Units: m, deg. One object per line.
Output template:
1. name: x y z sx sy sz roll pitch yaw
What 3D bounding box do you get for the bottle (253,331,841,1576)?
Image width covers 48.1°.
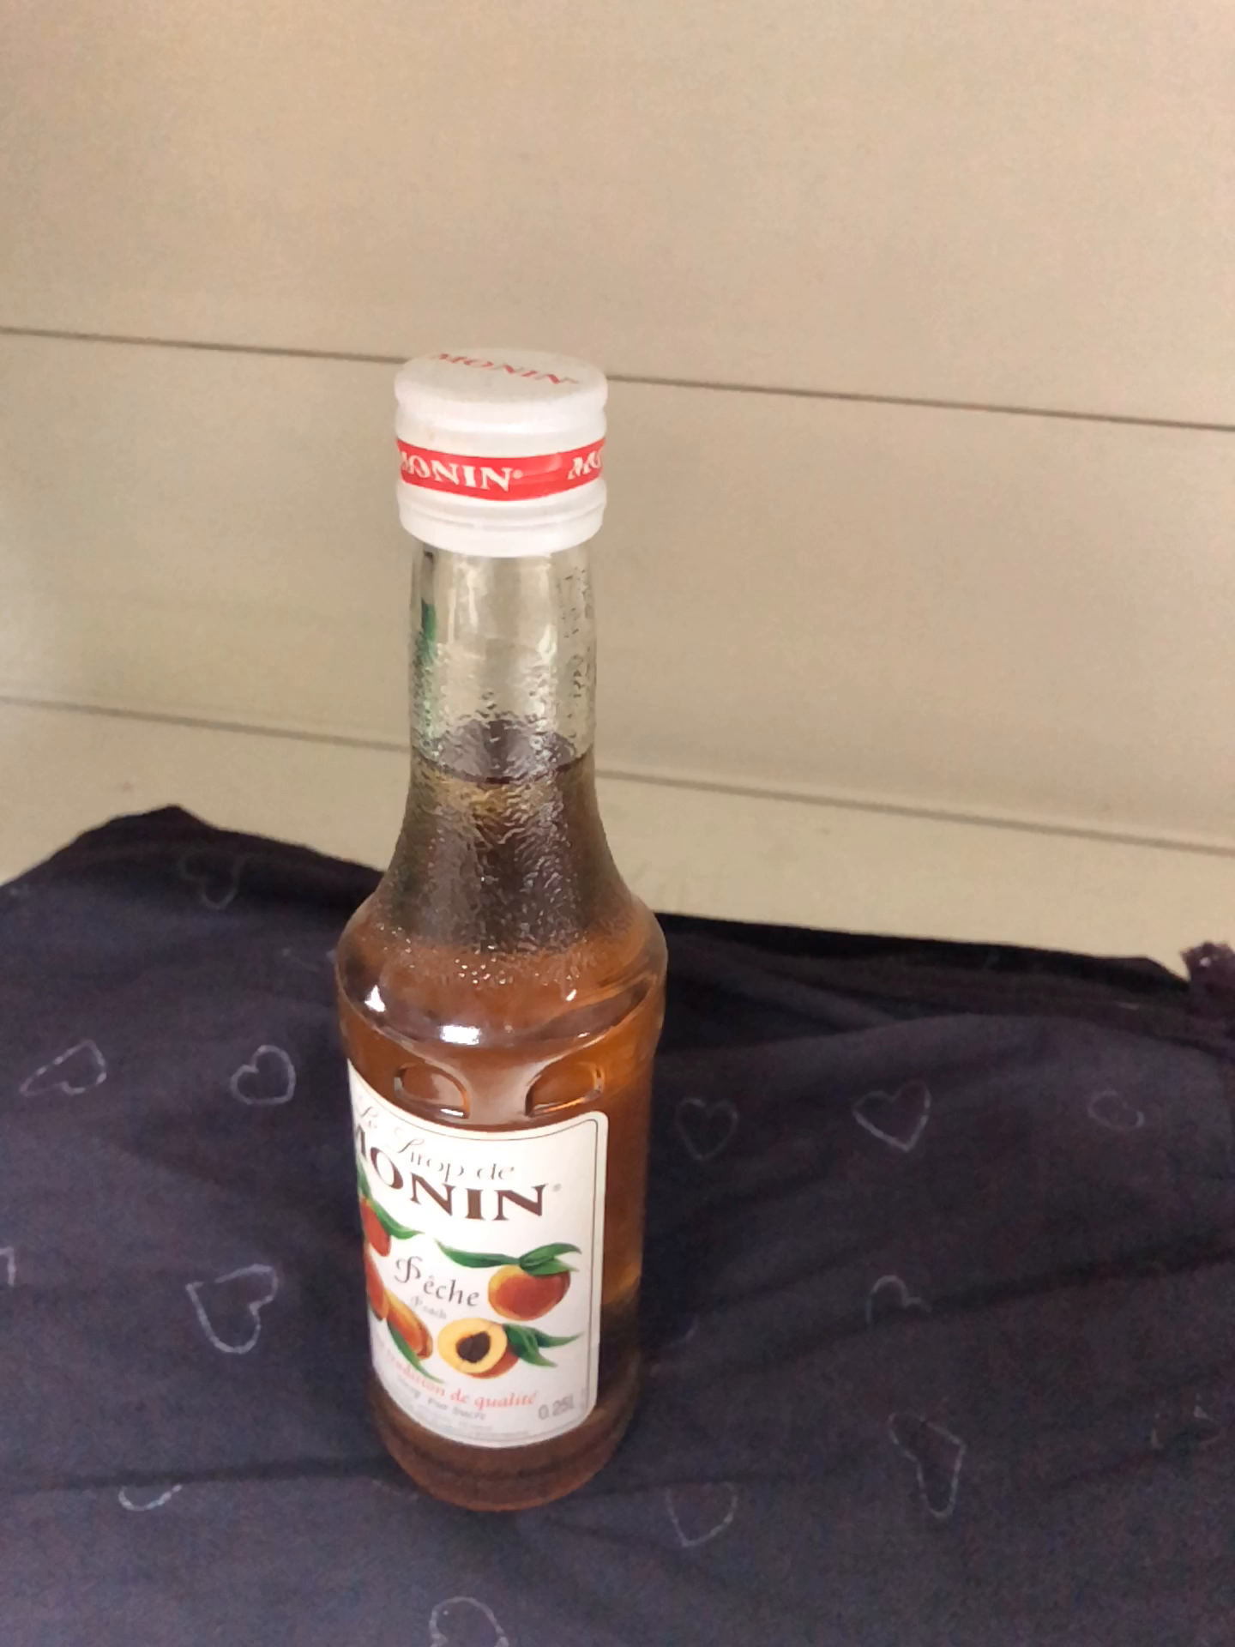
1. bottle: -0.012 0.030 0.246 0.060 0.209 0.060 2 29 -1
